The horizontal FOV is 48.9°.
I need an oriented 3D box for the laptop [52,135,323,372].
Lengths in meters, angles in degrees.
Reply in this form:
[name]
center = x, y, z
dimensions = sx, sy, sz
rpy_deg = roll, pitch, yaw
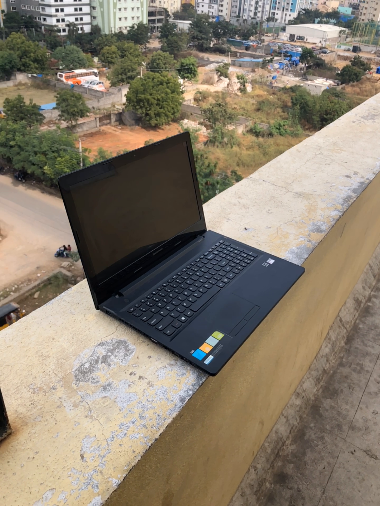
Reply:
[laptop]
center = 0.008, -0.040, 0.800
dimensions = 0.330, 0.229, 0.368
rpy_deg = 23, 36, 26
